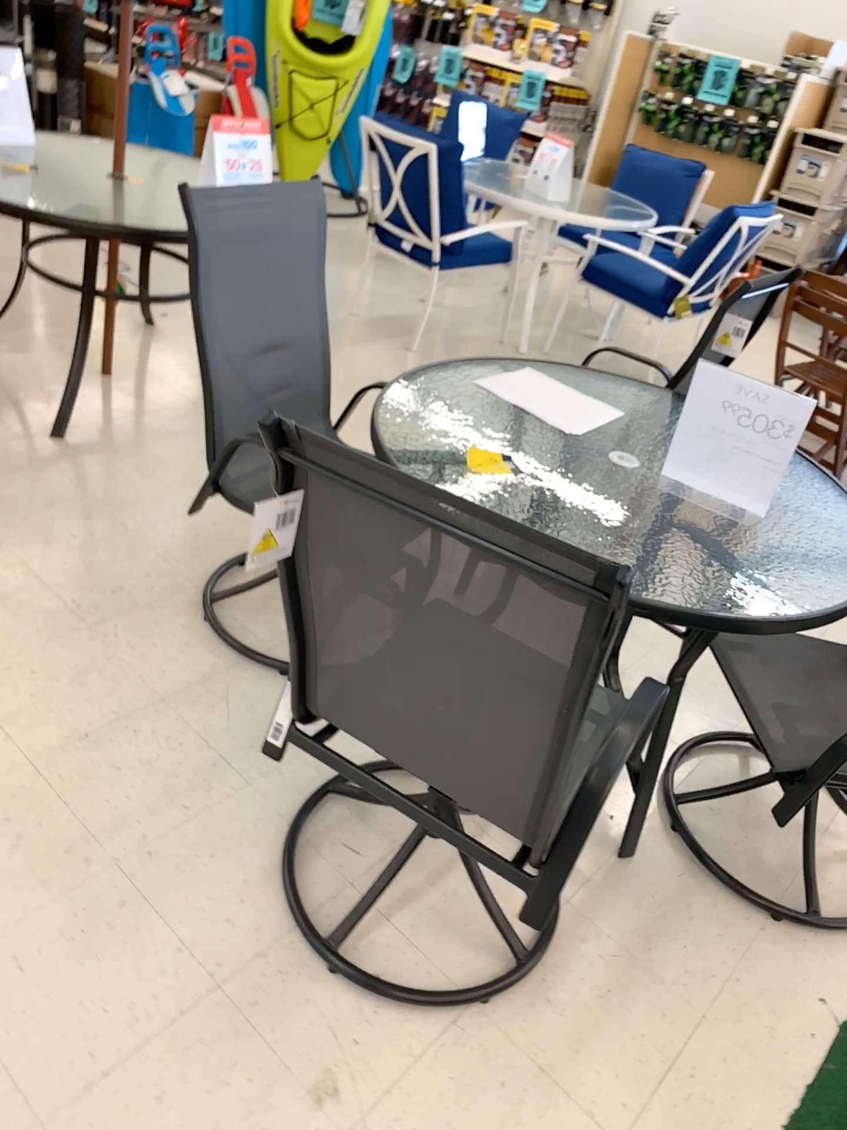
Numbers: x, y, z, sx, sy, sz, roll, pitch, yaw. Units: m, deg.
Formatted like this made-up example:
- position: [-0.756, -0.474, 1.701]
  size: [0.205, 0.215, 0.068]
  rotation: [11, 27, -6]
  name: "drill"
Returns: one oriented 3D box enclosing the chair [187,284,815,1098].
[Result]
- position: [0.089, 0.167, 1.413]
  size: [0.580, 0.975, 0.643]
  rotation: [26, 35, 18]
  name: "chair"
